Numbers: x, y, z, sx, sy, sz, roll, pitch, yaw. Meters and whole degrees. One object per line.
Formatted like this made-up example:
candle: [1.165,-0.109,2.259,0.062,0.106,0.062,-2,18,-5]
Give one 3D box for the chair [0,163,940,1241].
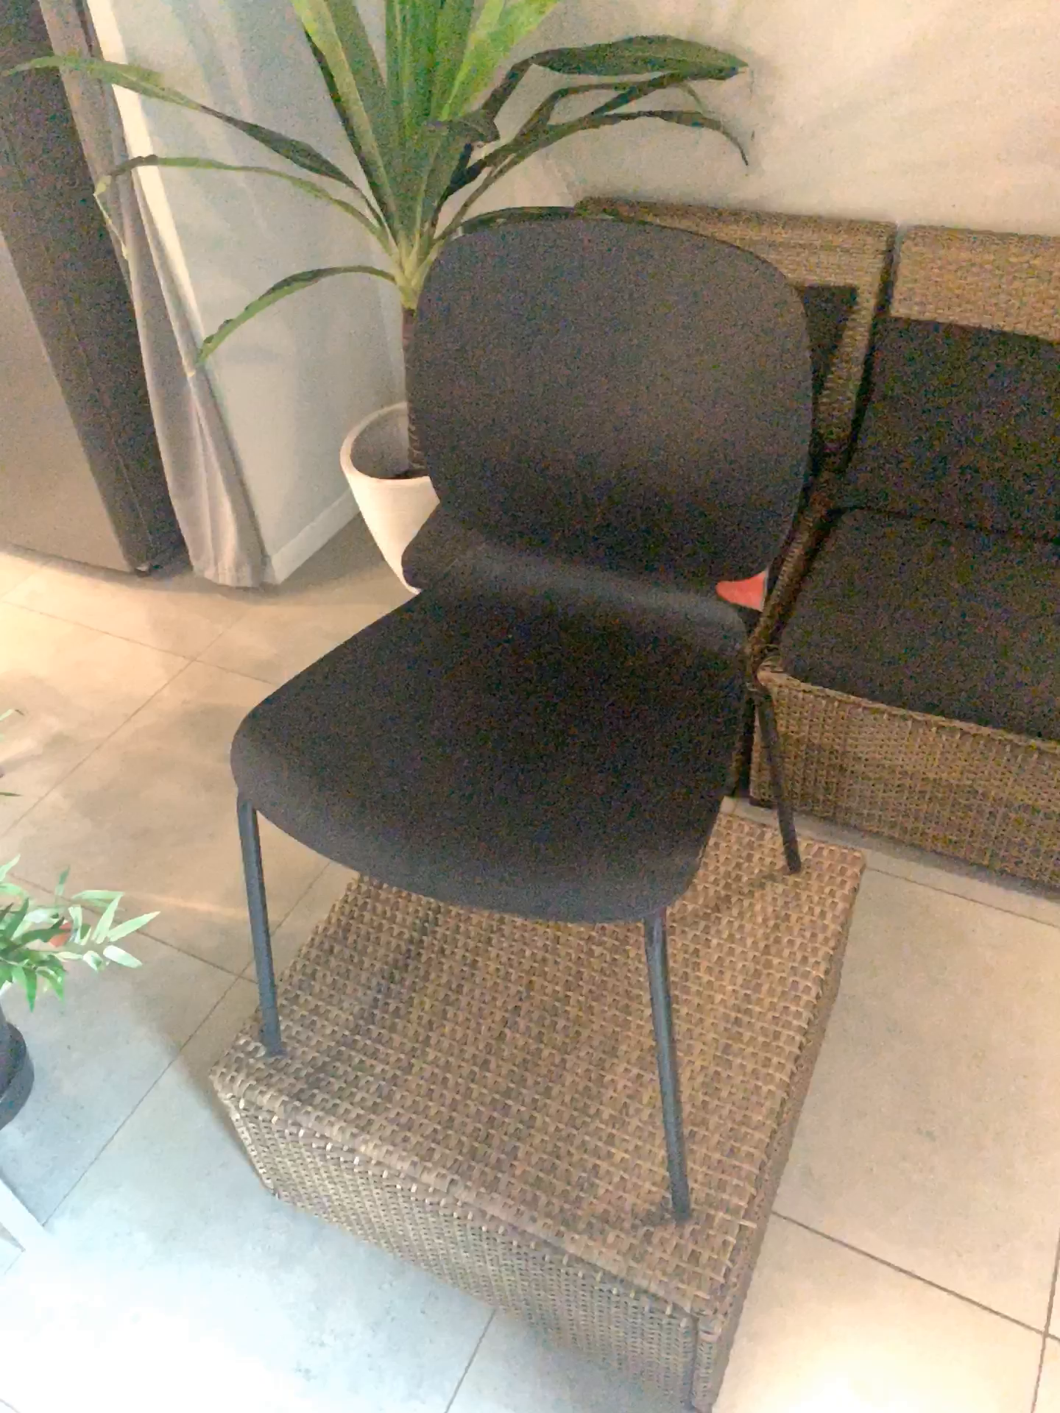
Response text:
chair: [0.004,-0.015,1.047,0.531,0.767,0.561,15,45,20]
